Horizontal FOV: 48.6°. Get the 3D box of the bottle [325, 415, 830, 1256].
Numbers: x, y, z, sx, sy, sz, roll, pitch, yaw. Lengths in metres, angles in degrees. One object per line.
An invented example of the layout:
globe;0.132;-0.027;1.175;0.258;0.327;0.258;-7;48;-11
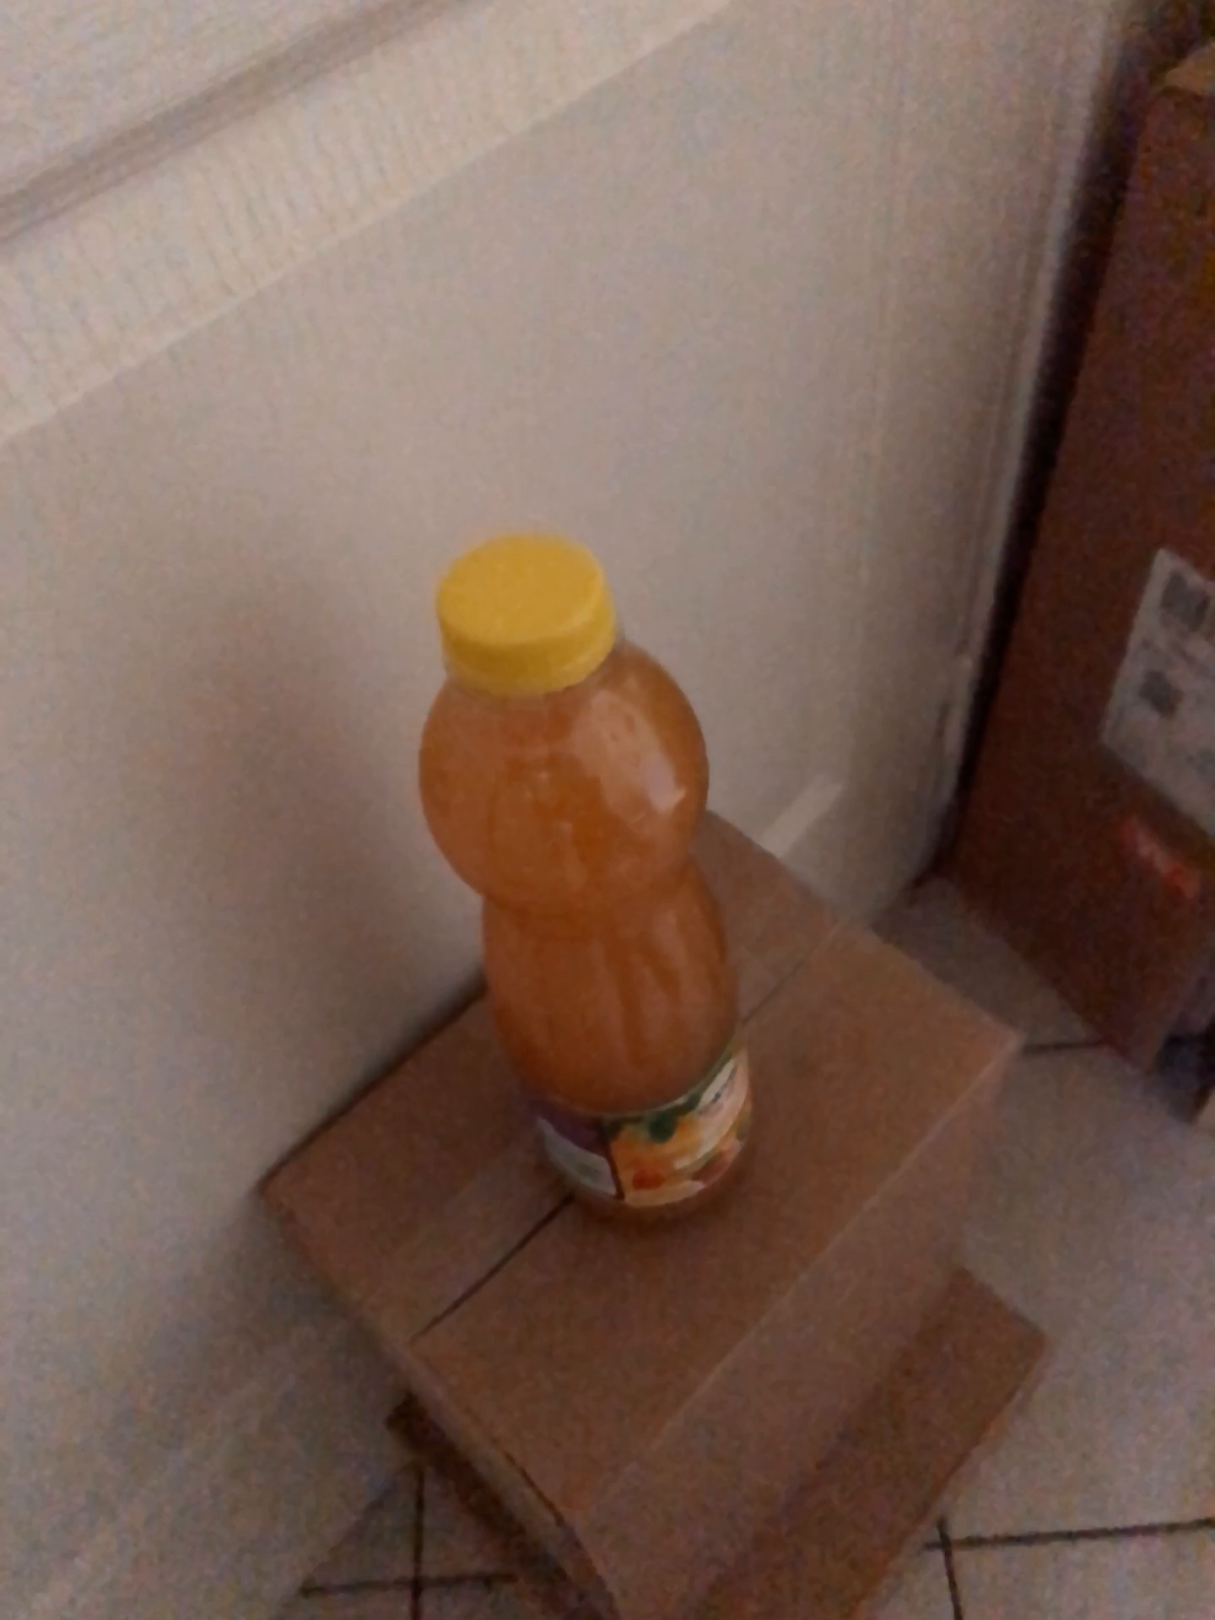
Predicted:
bottle;0.005;0.031;0.405;0.080;0.279;0.080;-3;53;3
